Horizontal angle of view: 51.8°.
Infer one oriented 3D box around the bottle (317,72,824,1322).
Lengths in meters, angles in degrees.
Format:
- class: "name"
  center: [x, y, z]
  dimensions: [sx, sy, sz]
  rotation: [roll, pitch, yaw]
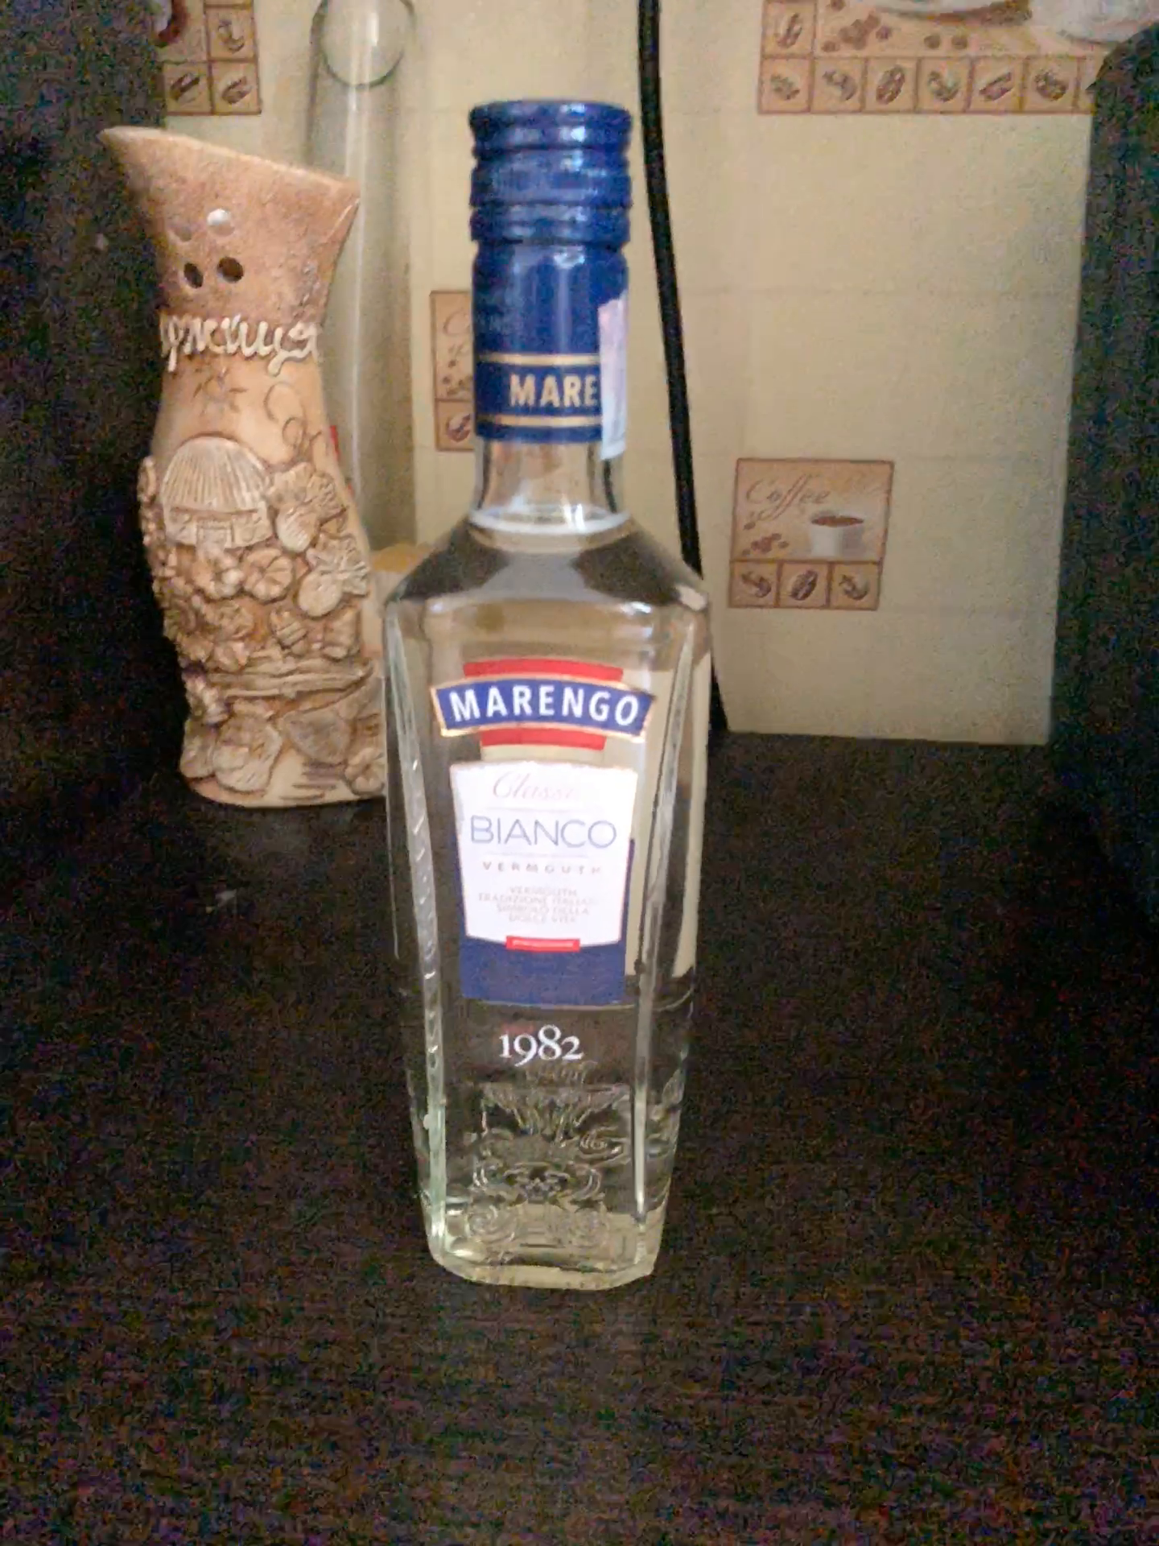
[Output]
- class: "bottle"
  center: [-0.003, 0.000, 0.289]
  dimensions: [0.090, 0.289, 0.050]
  rotation: [3, 22, 5]
